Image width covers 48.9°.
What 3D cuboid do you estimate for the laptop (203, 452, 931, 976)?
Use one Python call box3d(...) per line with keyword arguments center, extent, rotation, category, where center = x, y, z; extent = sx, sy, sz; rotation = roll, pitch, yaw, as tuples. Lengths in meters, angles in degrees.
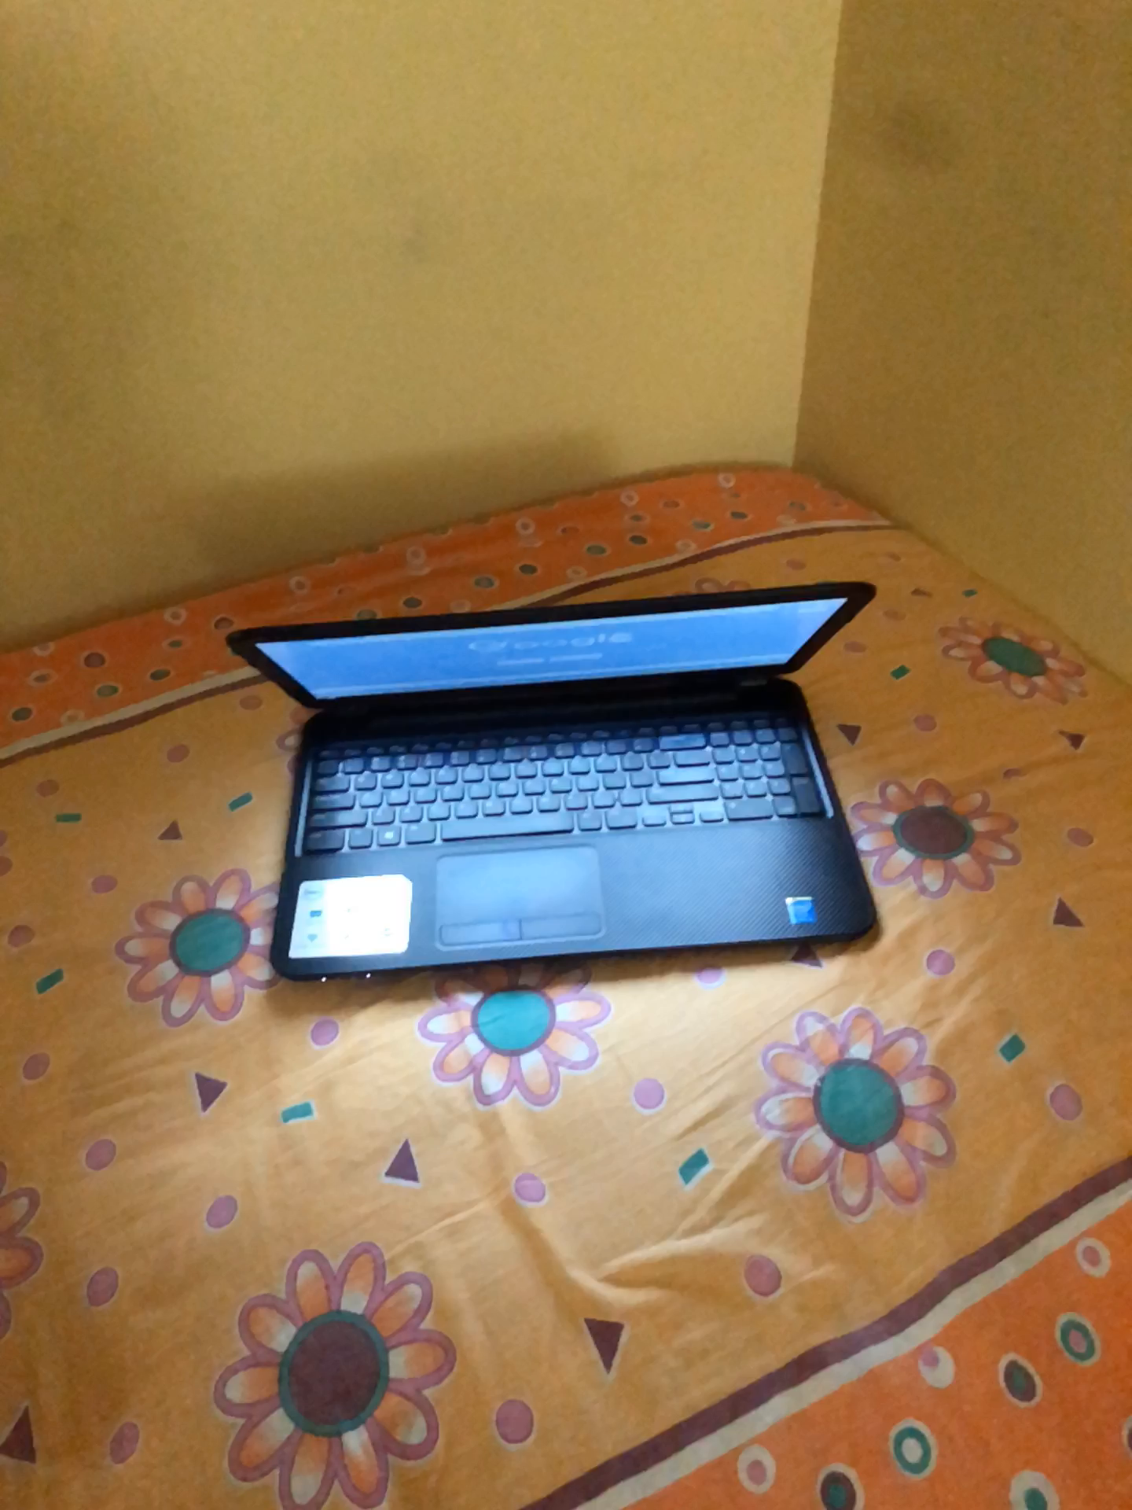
box3d(center=(-0.004, -0.031, 0.777), extent=(0.366, 0.190, 0.239), rotation=(-5, 43, -1), category="laptop")
